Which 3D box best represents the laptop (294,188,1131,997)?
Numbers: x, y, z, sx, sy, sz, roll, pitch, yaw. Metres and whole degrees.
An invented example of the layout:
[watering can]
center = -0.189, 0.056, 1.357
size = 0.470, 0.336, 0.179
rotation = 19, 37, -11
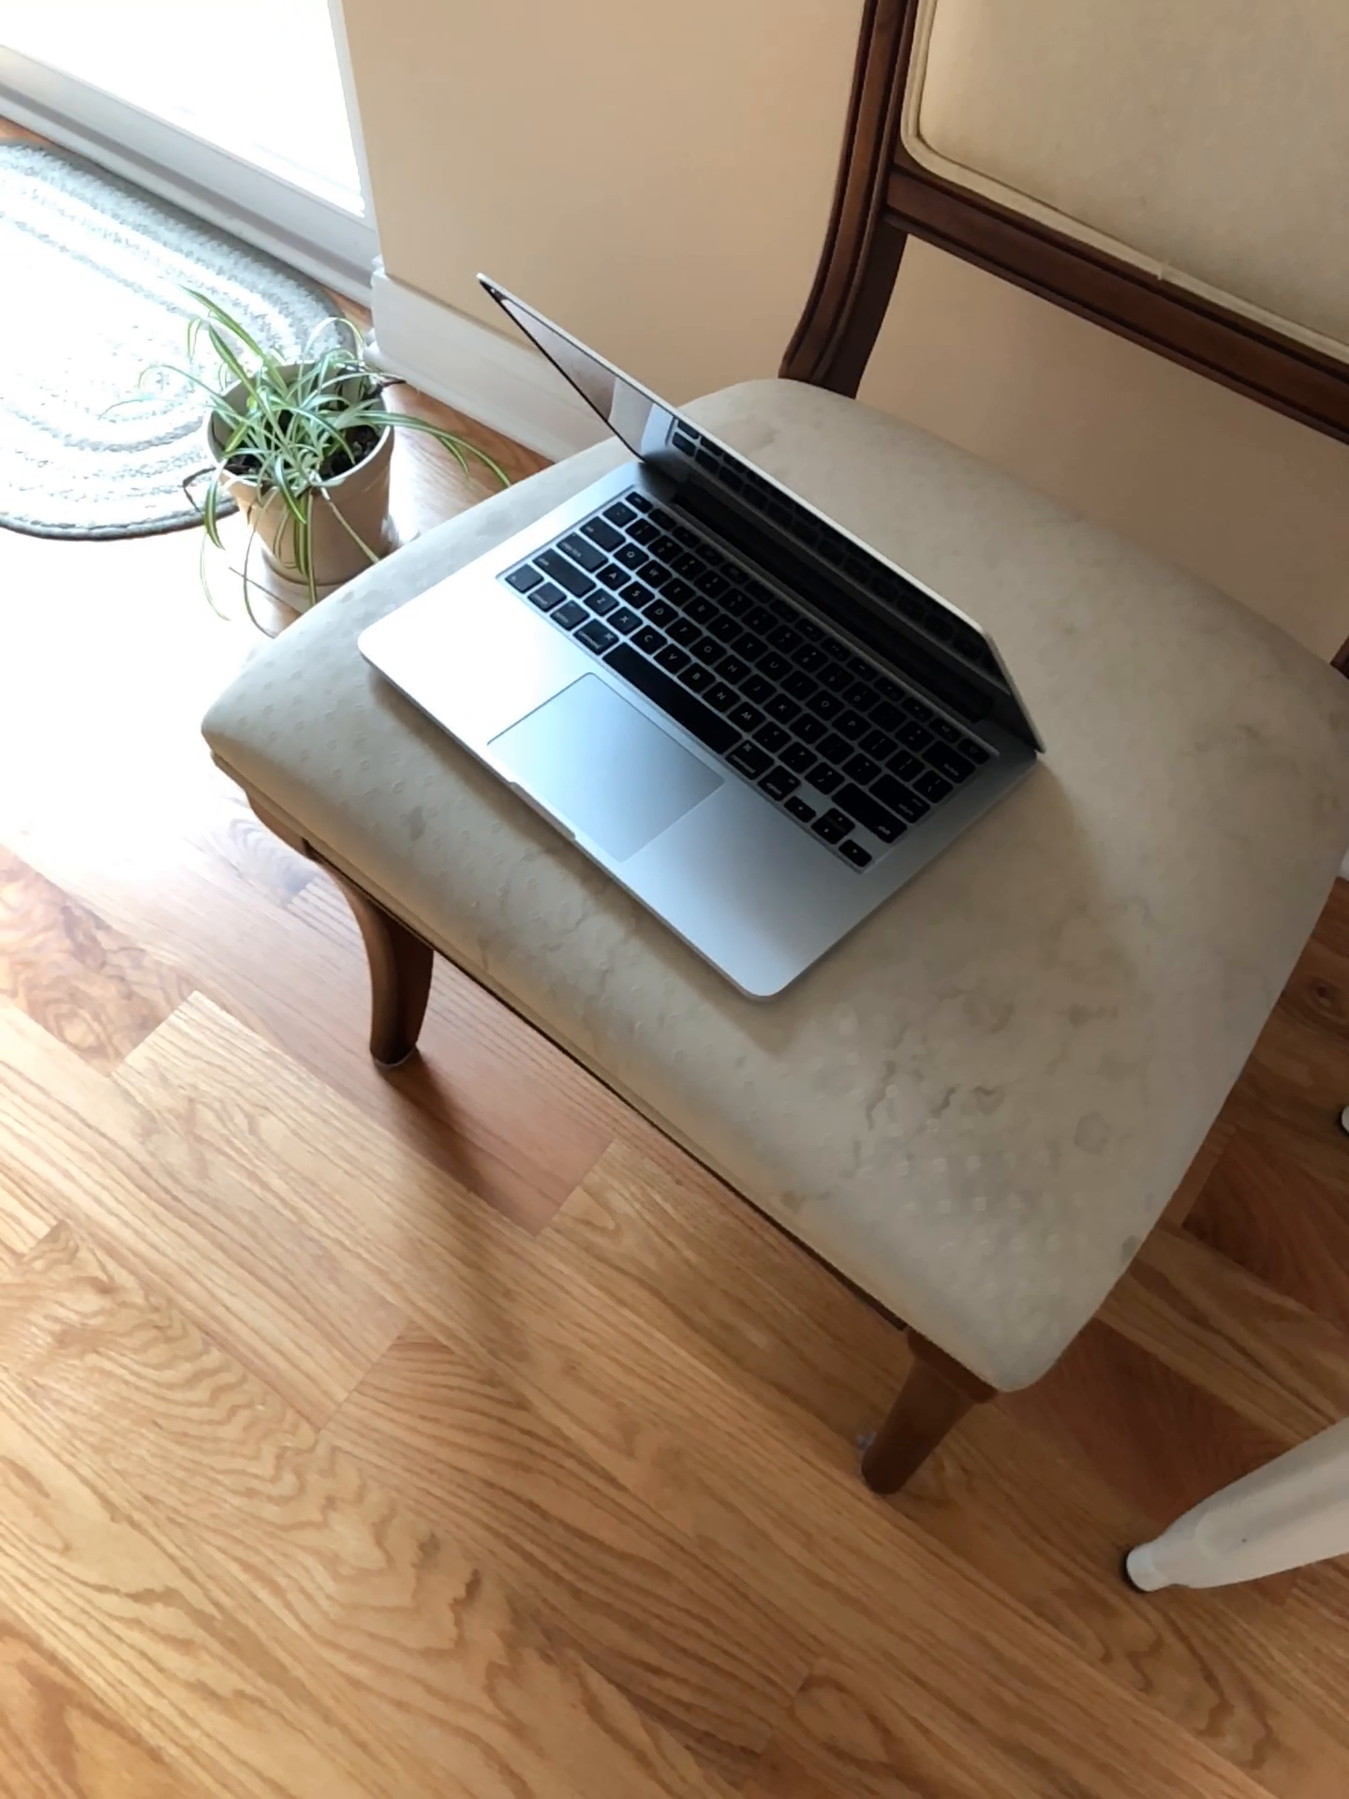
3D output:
[laptop]
center = 0.012, -0.159, 0.732
size = 0.218, 0.183, 0.309
rotation = -39, 66, -24
